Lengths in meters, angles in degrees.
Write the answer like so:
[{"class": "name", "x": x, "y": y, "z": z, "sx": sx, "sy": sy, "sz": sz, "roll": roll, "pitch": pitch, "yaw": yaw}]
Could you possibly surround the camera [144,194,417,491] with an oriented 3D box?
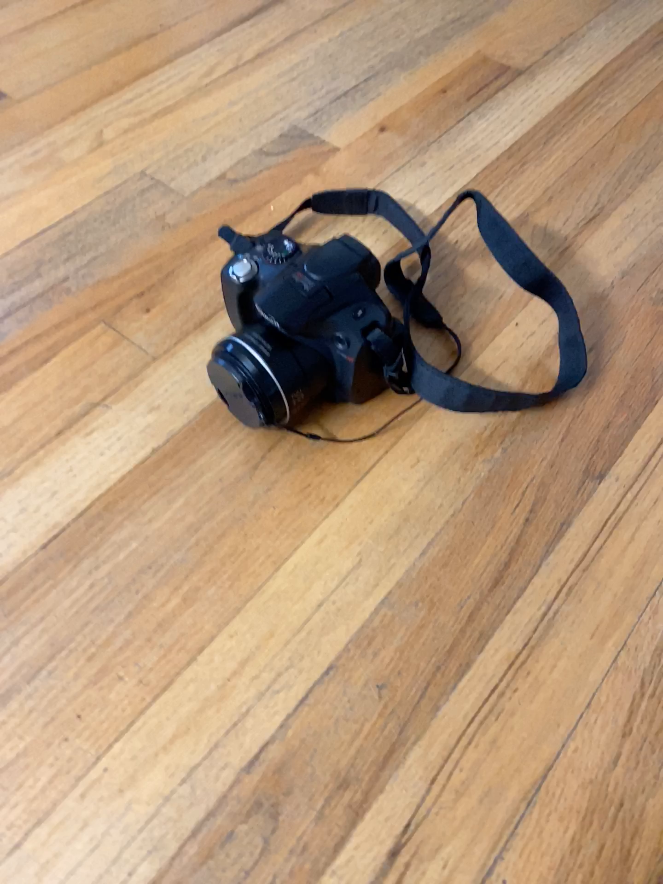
[{"class": "camera", "x": -0.029, "y": -0.066, "z": 0.450, "sx": 0.110, "sy": 0.110, "sz": 0.120, "roll": 37, "pitch": 64, "yaw": 22}]
